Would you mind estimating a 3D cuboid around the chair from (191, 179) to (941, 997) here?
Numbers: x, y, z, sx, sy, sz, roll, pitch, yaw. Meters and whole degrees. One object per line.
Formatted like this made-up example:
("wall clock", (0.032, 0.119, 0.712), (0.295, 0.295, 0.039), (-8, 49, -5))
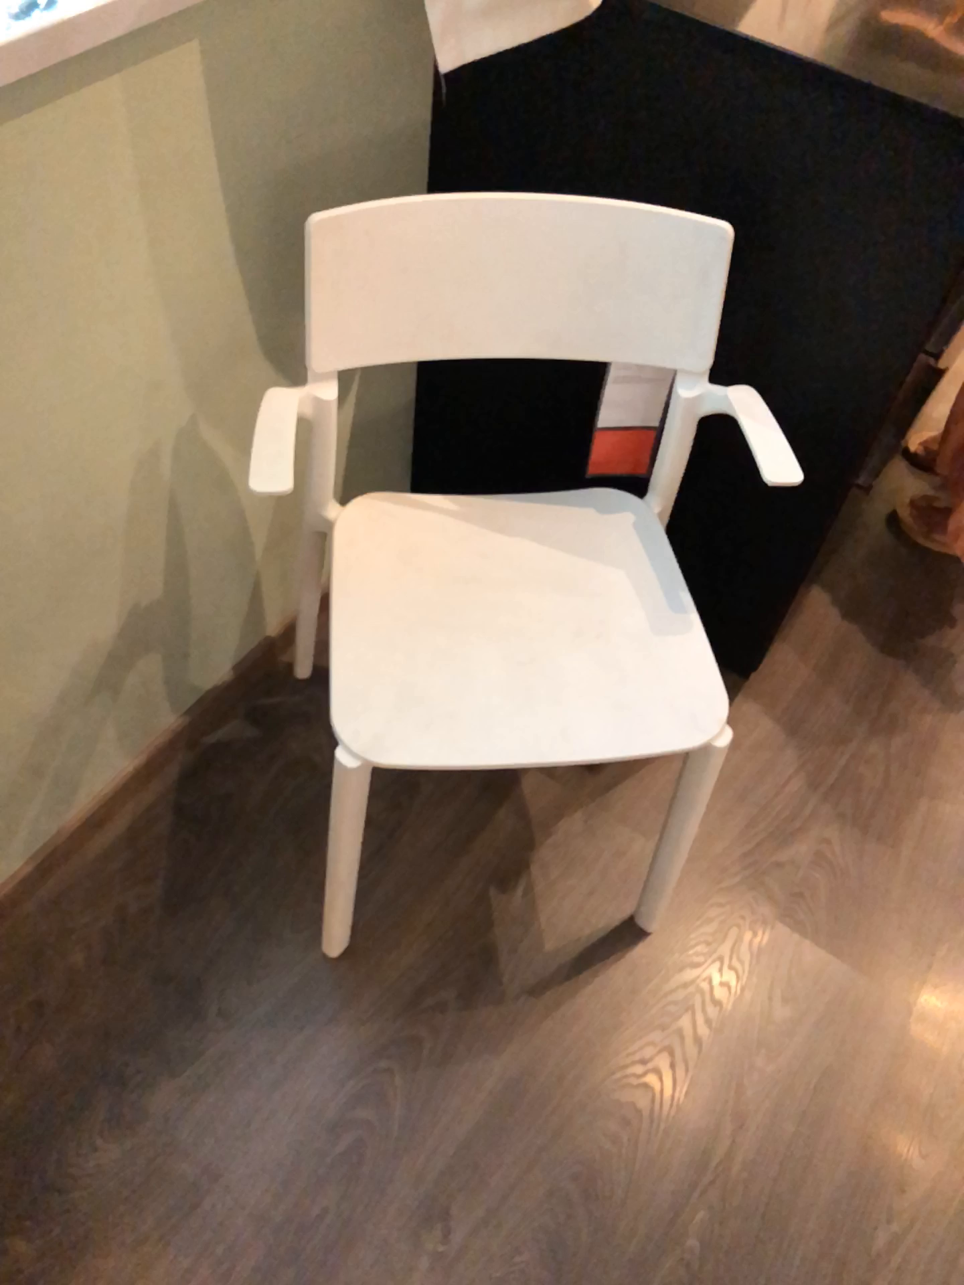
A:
("chair", (0.013, -0.030, 1.252), (0.560, 0.756, 0.583), (-3, 52, -7))
